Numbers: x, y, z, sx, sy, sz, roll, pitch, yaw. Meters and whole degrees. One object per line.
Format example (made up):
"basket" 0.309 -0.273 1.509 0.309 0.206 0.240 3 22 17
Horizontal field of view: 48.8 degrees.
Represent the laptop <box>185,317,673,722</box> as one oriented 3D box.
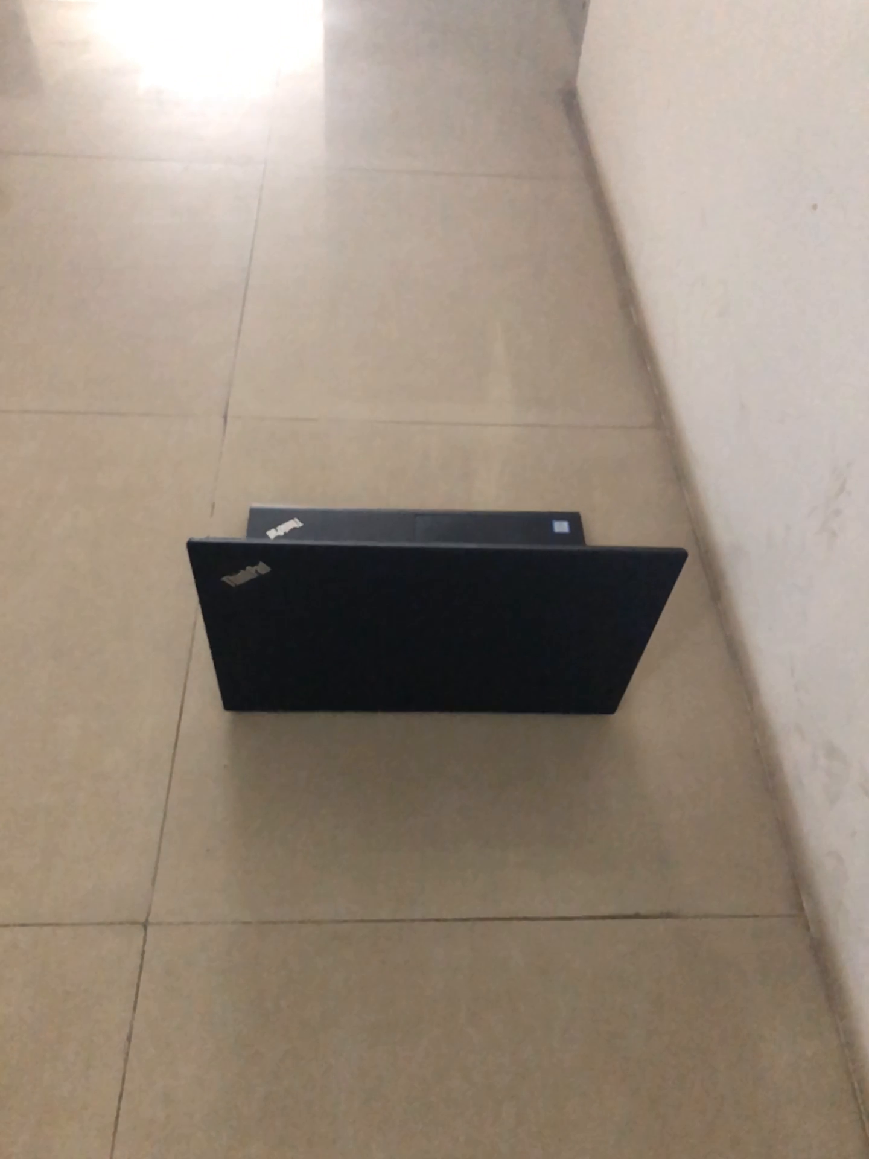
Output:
"laptop" -0.009 -0.049 0.863 0.353 0.240 0.256 2 51 -4
